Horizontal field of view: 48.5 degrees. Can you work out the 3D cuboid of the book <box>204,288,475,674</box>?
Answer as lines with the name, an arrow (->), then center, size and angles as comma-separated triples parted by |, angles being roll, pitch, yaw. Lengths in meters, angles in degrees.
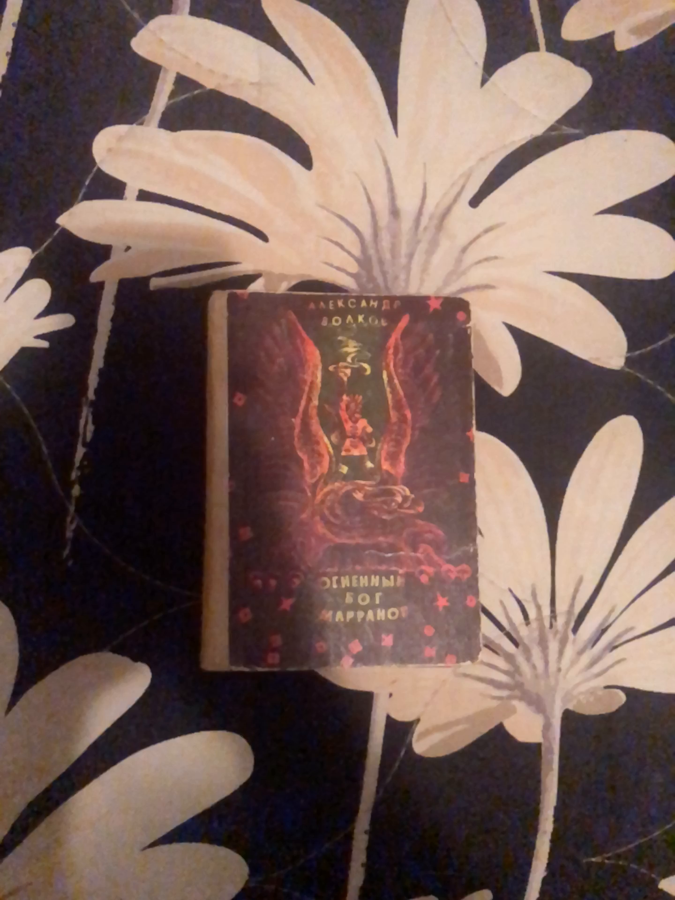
book -> 0.002, 0.017, 0.429 | 0.152, 0.020, 0.211 | 1, 88, -8
